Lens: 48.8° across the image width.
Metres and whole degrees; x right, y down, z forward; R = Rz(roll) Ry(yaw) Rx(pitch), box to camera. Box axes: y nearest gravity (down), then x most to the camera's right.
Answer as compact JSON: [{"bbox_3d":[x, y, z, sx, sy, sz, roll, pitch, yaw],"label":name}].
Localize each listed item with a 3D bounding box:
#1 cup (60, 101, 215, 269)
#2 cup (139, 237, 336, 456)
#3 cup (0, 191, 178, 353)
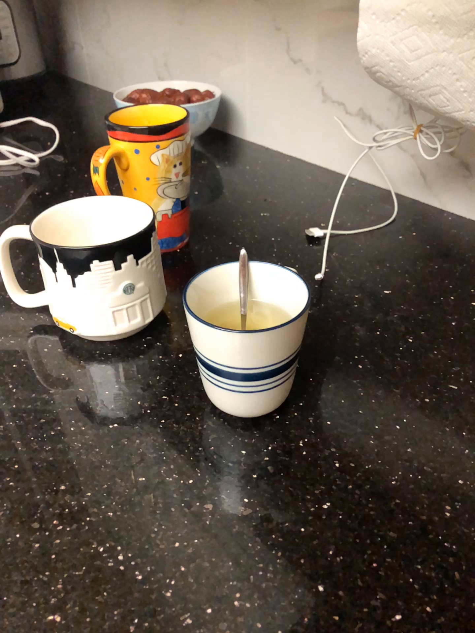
[{"bbox_3d":[-0.100,-0.149,0.574,0.090,0.129,0.131,18,40,25],"label":"cup"},{"bbox_3d":[0.008,0.014,0.397,0.100,0.080,0.141,11,37,16],"label":"cup"},{"bbox_3d":[-0.138,-0.044,0.477,0.140,0.099,0.111,3,36,5],"label":"cup"}]
